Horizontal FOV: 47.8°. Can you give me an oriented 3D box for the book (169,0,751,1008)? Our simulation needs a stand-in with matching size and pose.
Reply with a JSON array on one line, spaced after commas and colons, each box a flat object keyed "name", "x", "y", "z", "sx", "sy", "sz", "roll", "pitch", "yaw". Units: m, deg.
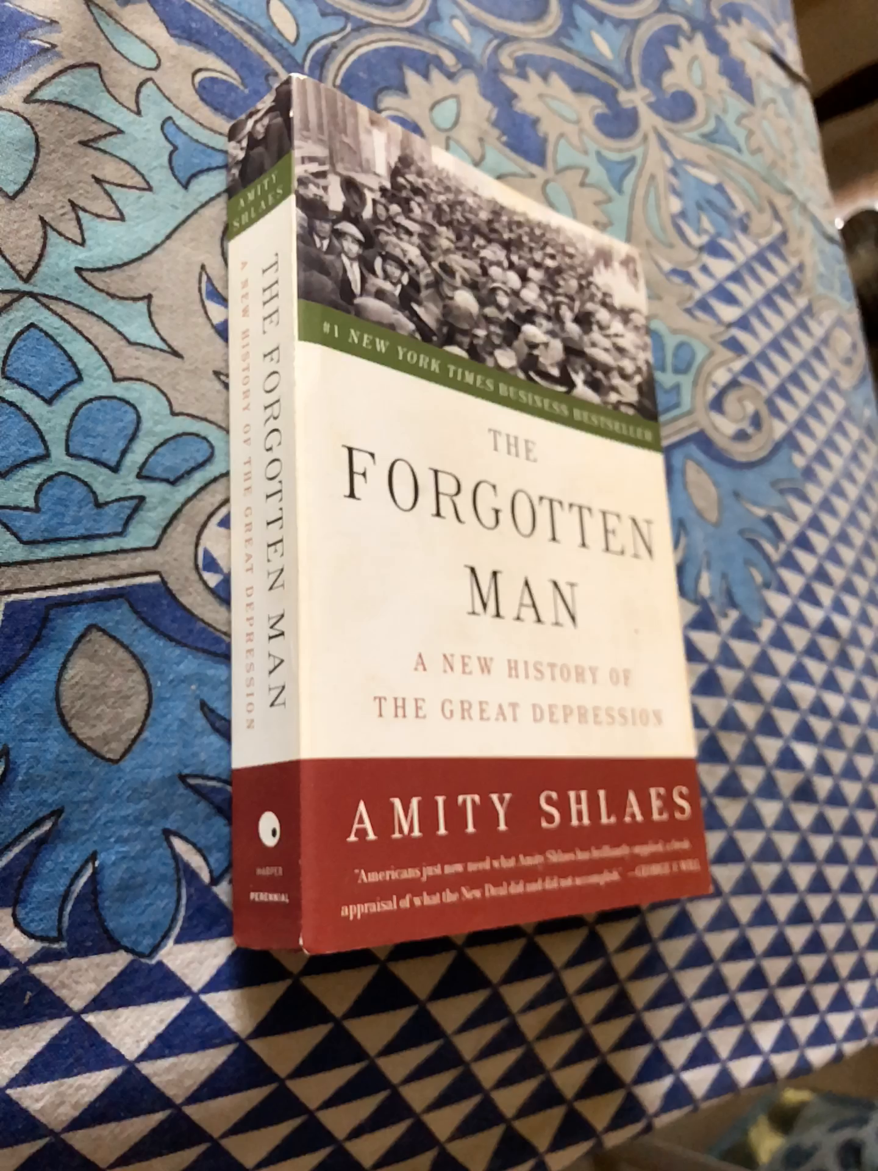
[{"name": "book", "x": 0.009, "y": -0.016, "z": 0.252, "sx": 0.141, "sy": 0.050, "sz": 0.200, "roll": 6, "pitch": 76, "yaw": -42}]
